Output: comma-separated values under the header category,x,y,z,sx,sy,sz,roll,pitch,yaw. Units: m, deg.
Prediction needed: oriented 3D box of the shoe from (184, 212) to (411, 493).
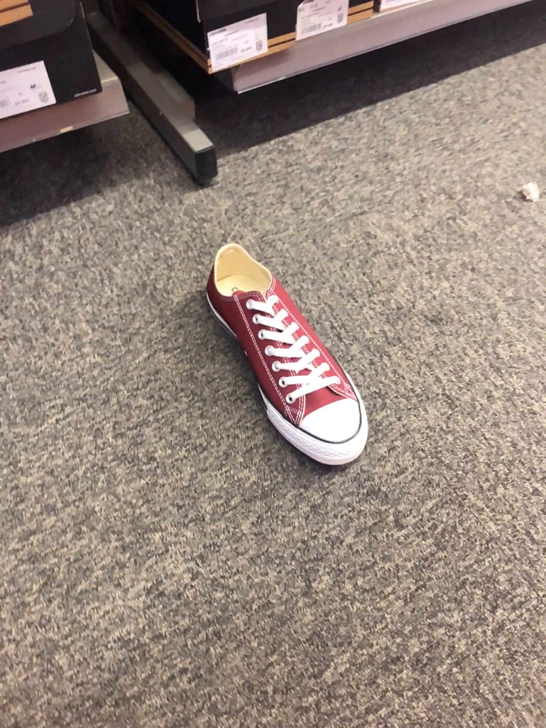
category,x,y,z,sx,sy,sz,roll,pitch,yaw
shoe,0.013,-0.022,0.628,0.100,0.090,0.281,-23,60,-16
